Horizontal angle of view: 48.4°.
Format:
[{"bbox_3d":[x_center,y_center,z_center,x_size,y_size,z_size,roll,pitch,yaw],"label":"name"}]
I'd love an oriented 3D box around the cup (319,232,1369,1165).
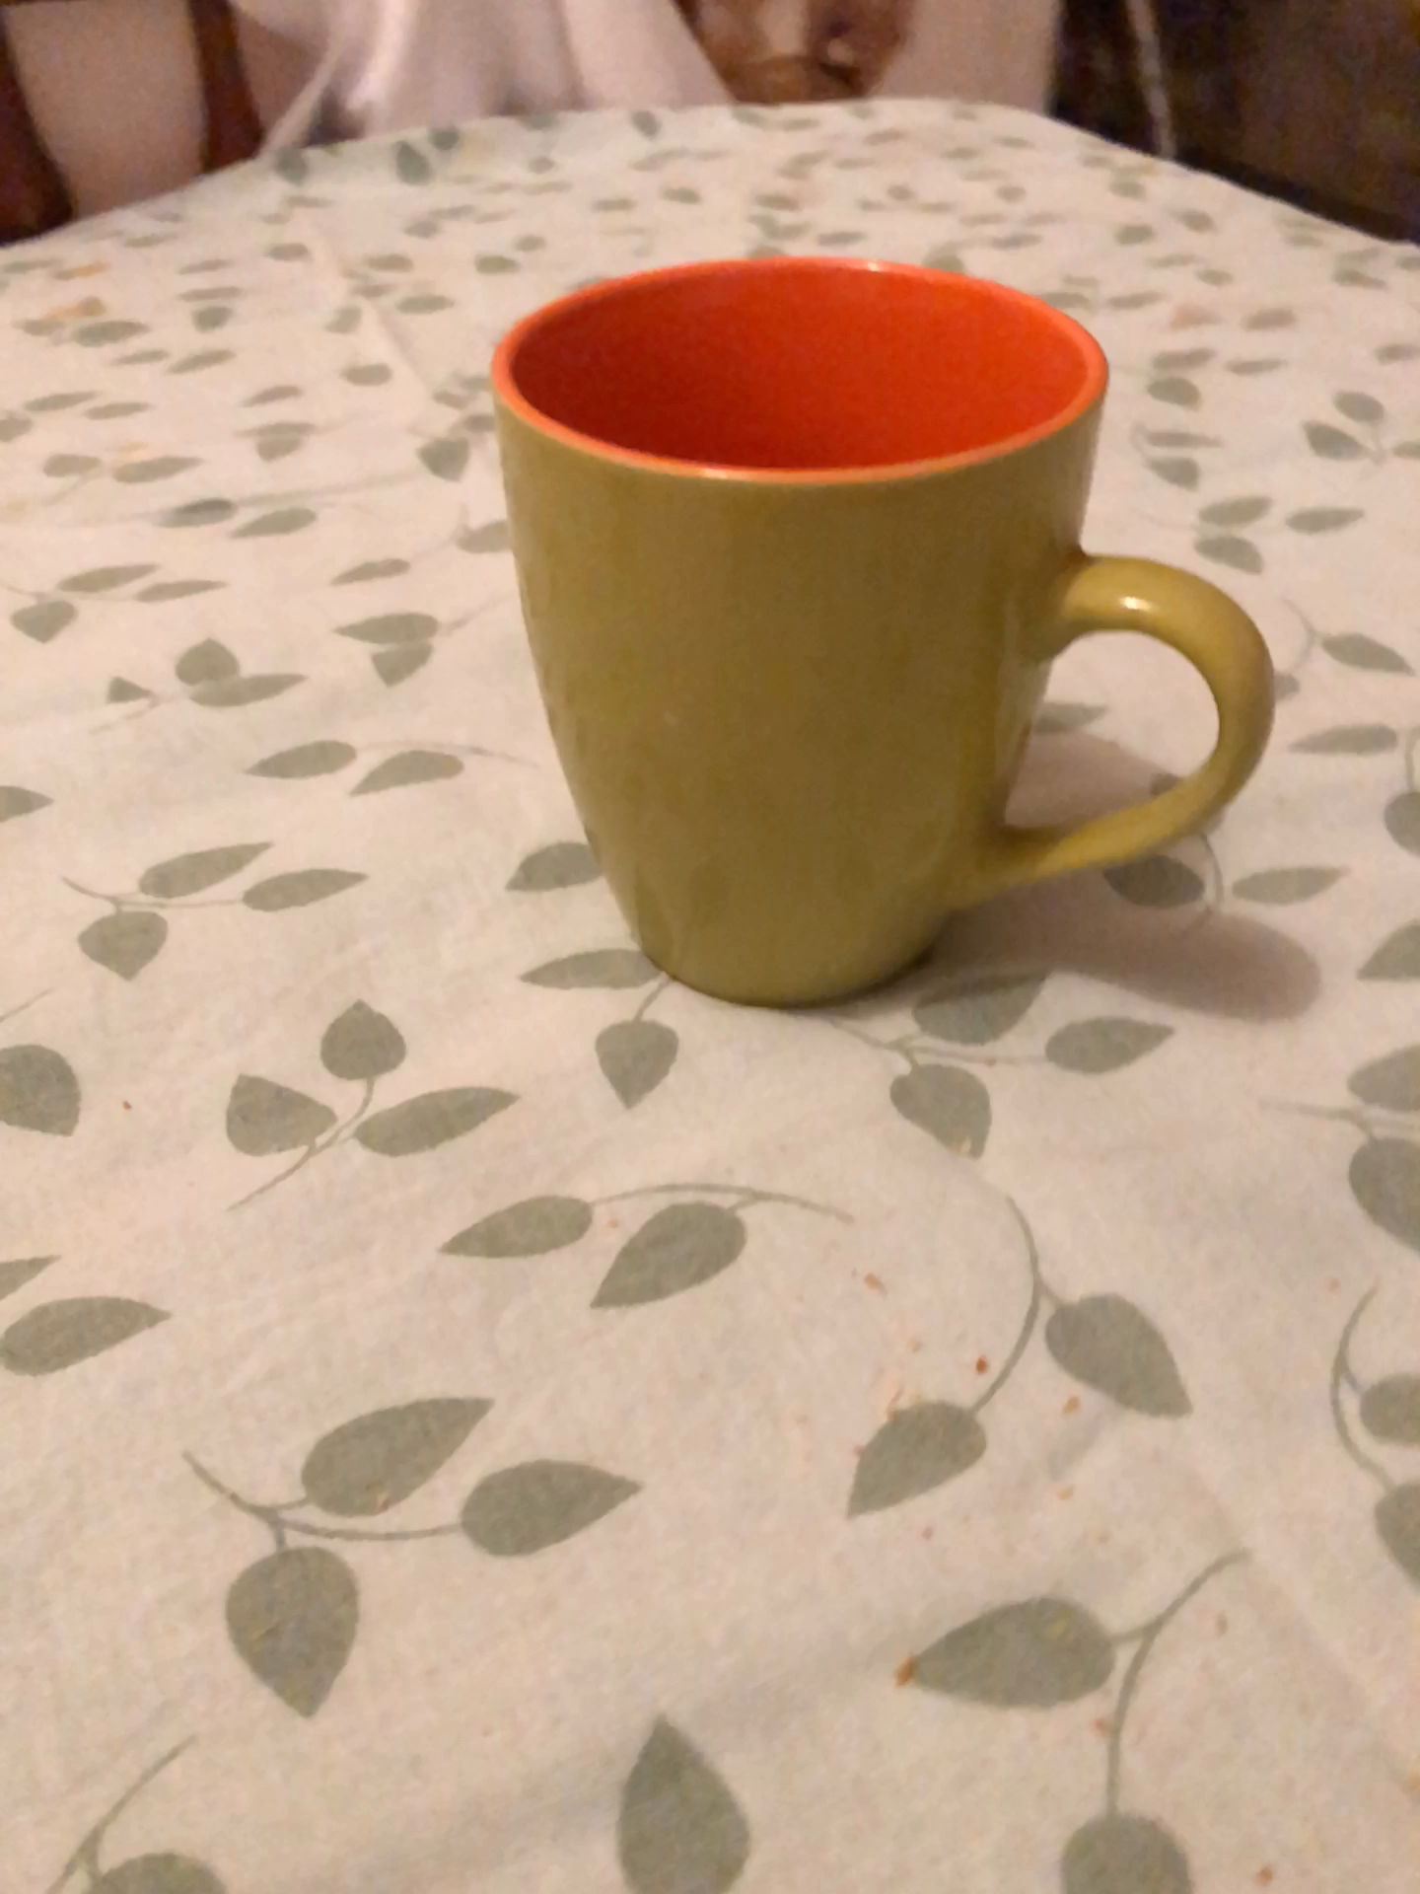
[{"bbox_3d":[0.023,-0.045,0.245,0.120,0.089,0.091,15,42,19],"label":"cup"}]
